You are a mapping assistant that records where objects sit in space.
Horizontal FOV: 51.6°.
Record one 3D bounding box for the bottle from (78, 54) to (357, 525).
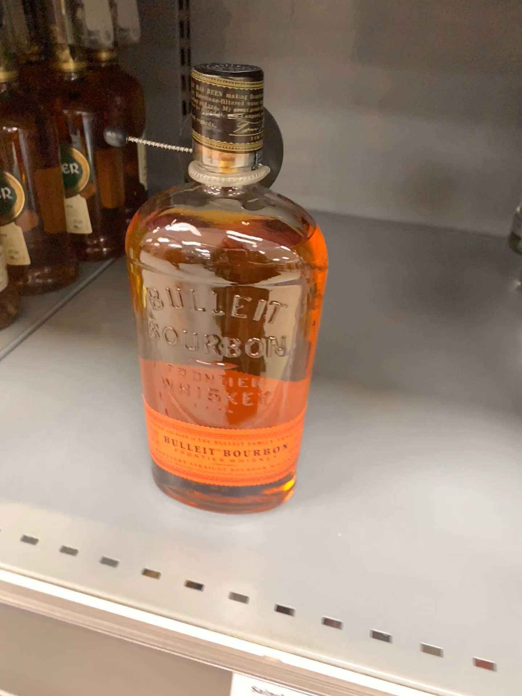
[{"bbox_3d":[-0.017,-0.016,0.278,0.100,0.228,0.061,7,34,6],"label":"bottle"}]
